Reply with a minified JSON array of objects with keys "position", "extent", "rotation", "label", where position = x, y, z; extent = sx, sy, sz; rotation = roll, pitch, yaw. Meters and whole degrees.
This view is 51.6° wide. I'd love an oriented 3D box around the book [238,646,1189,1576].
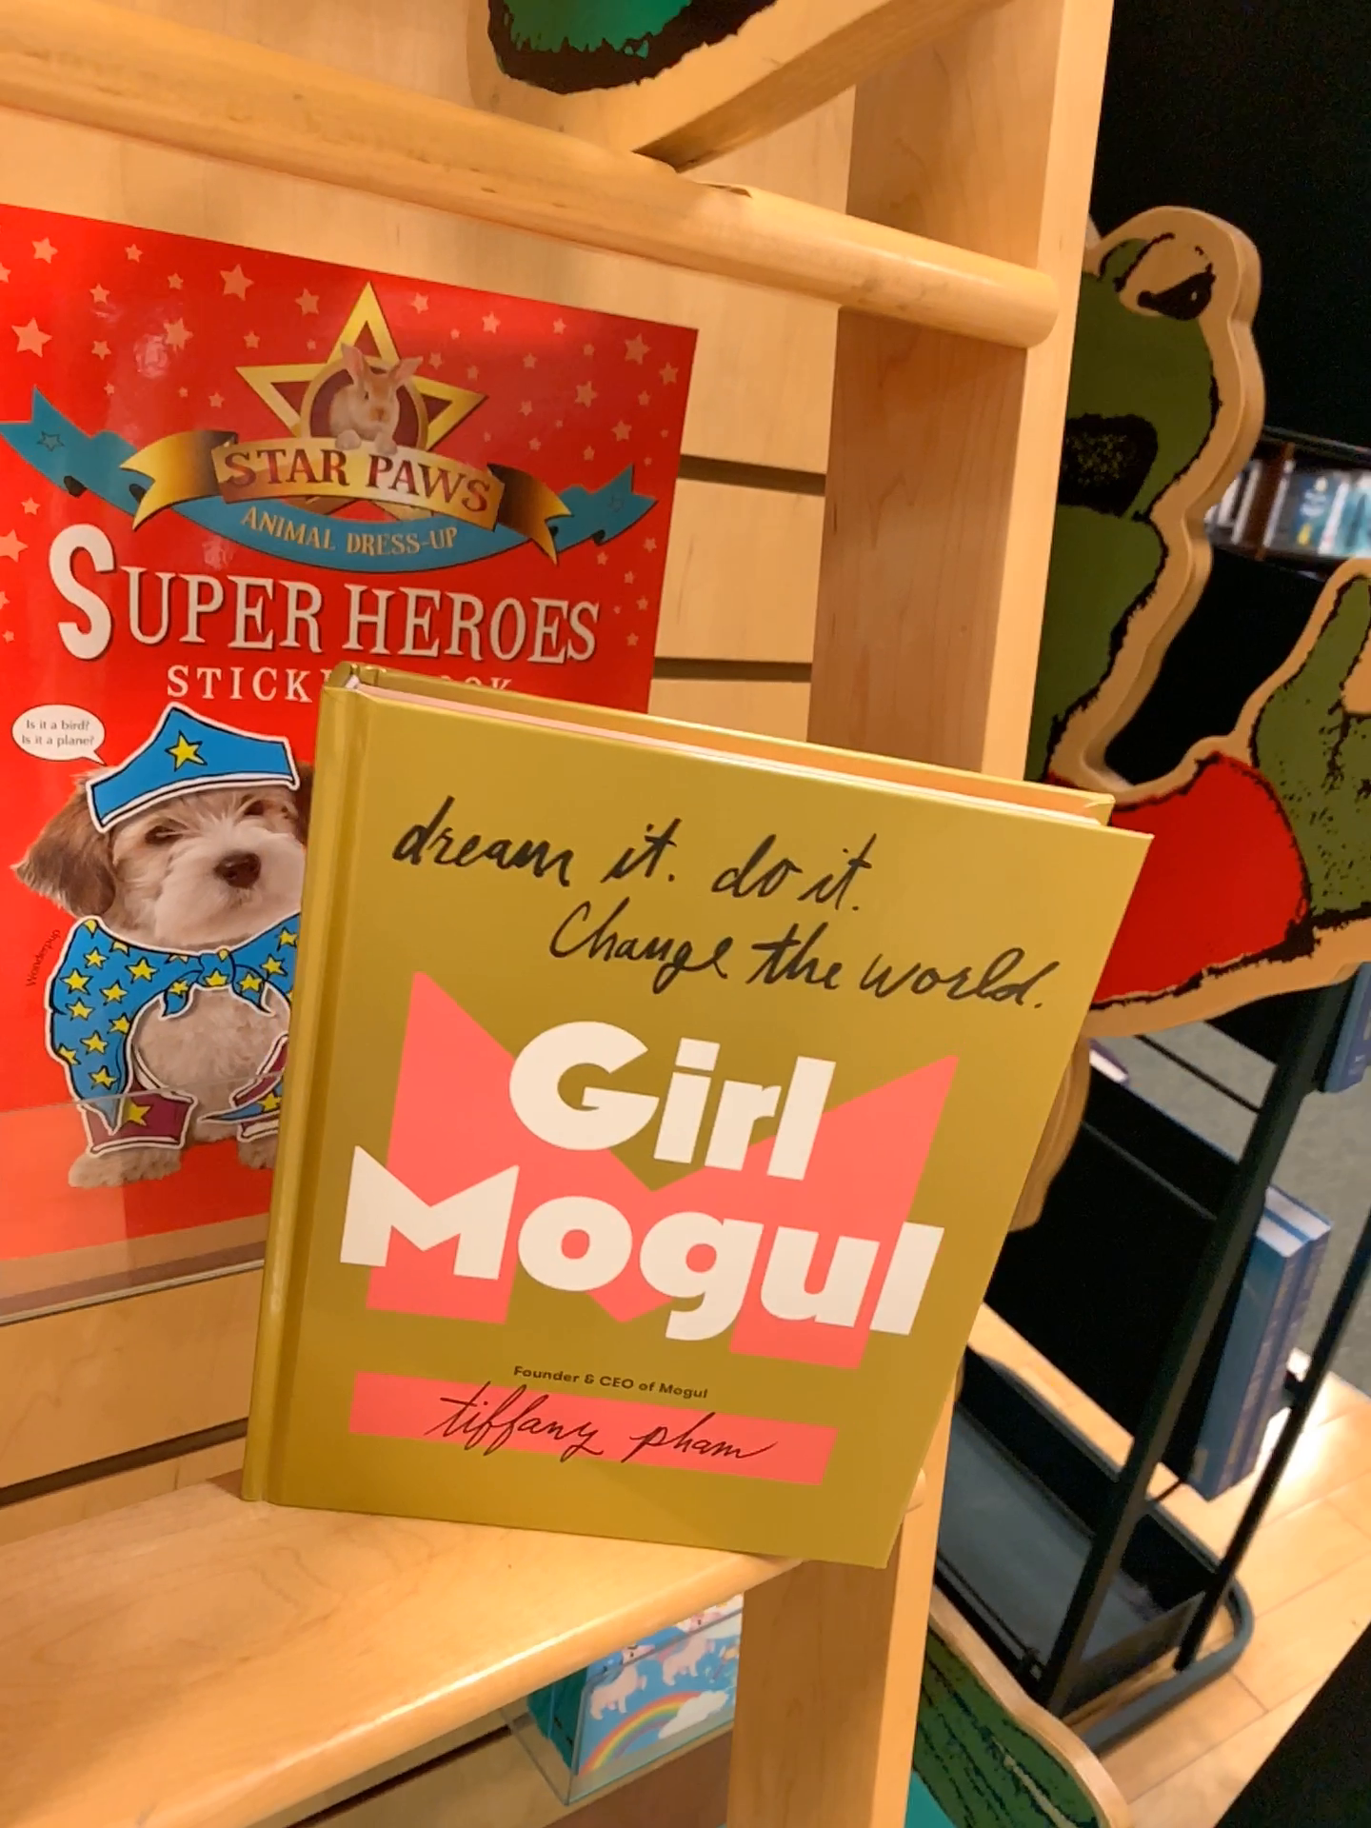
[{"position":[-0.005,0.062,0.344],"extent":[0.180,0.219,0.030],"rotation":[9,23,-8],"label":"book"}]
